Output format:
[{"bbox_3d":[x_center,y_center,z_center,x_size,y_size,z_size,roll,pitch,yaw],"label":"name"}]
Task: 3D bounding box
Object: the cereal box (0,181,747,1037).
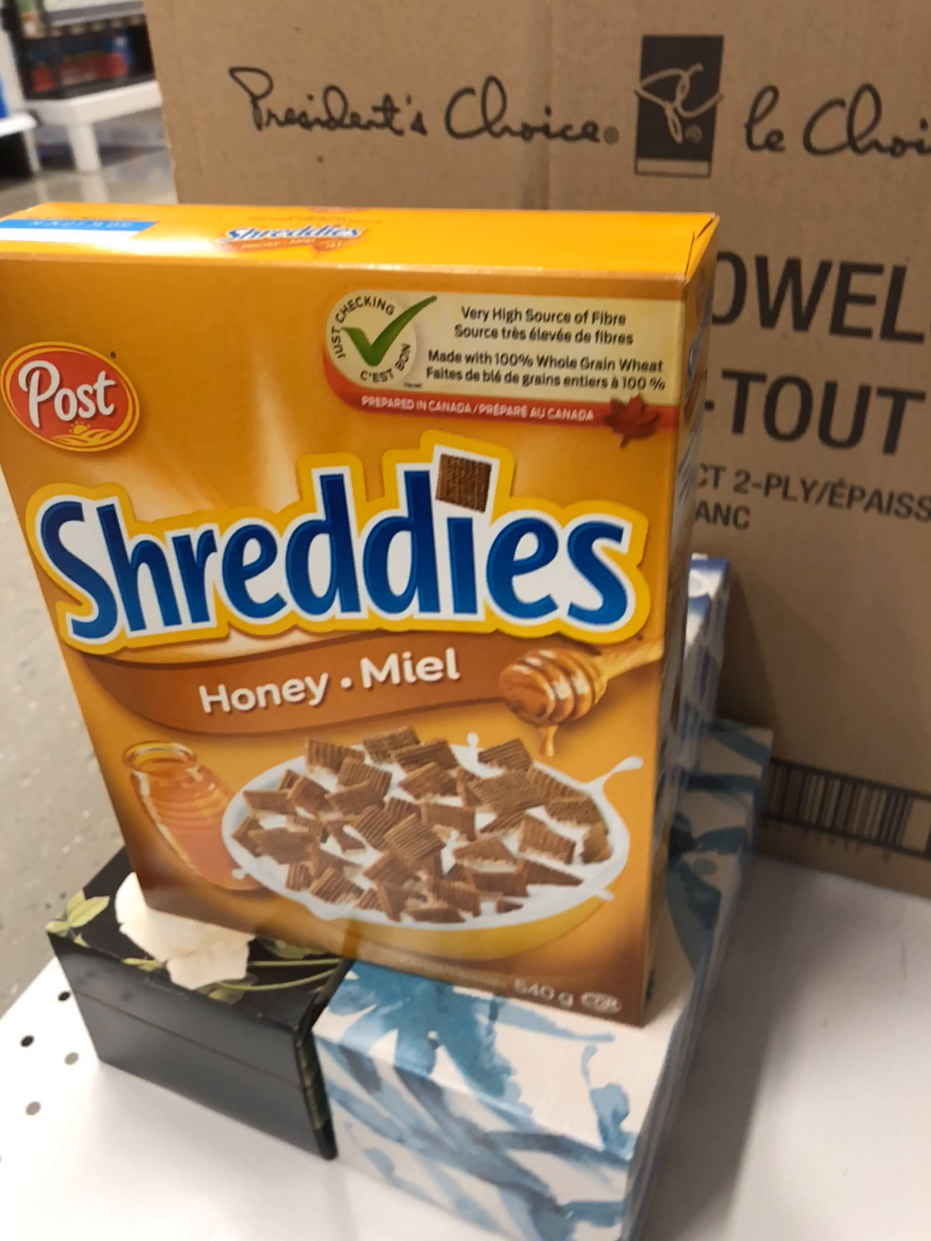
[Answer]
[{"bbox_3d":[-0.037,0.003,0.338,0.220,0.259,0.060,7,35,16],"label":"cereal box"}]
